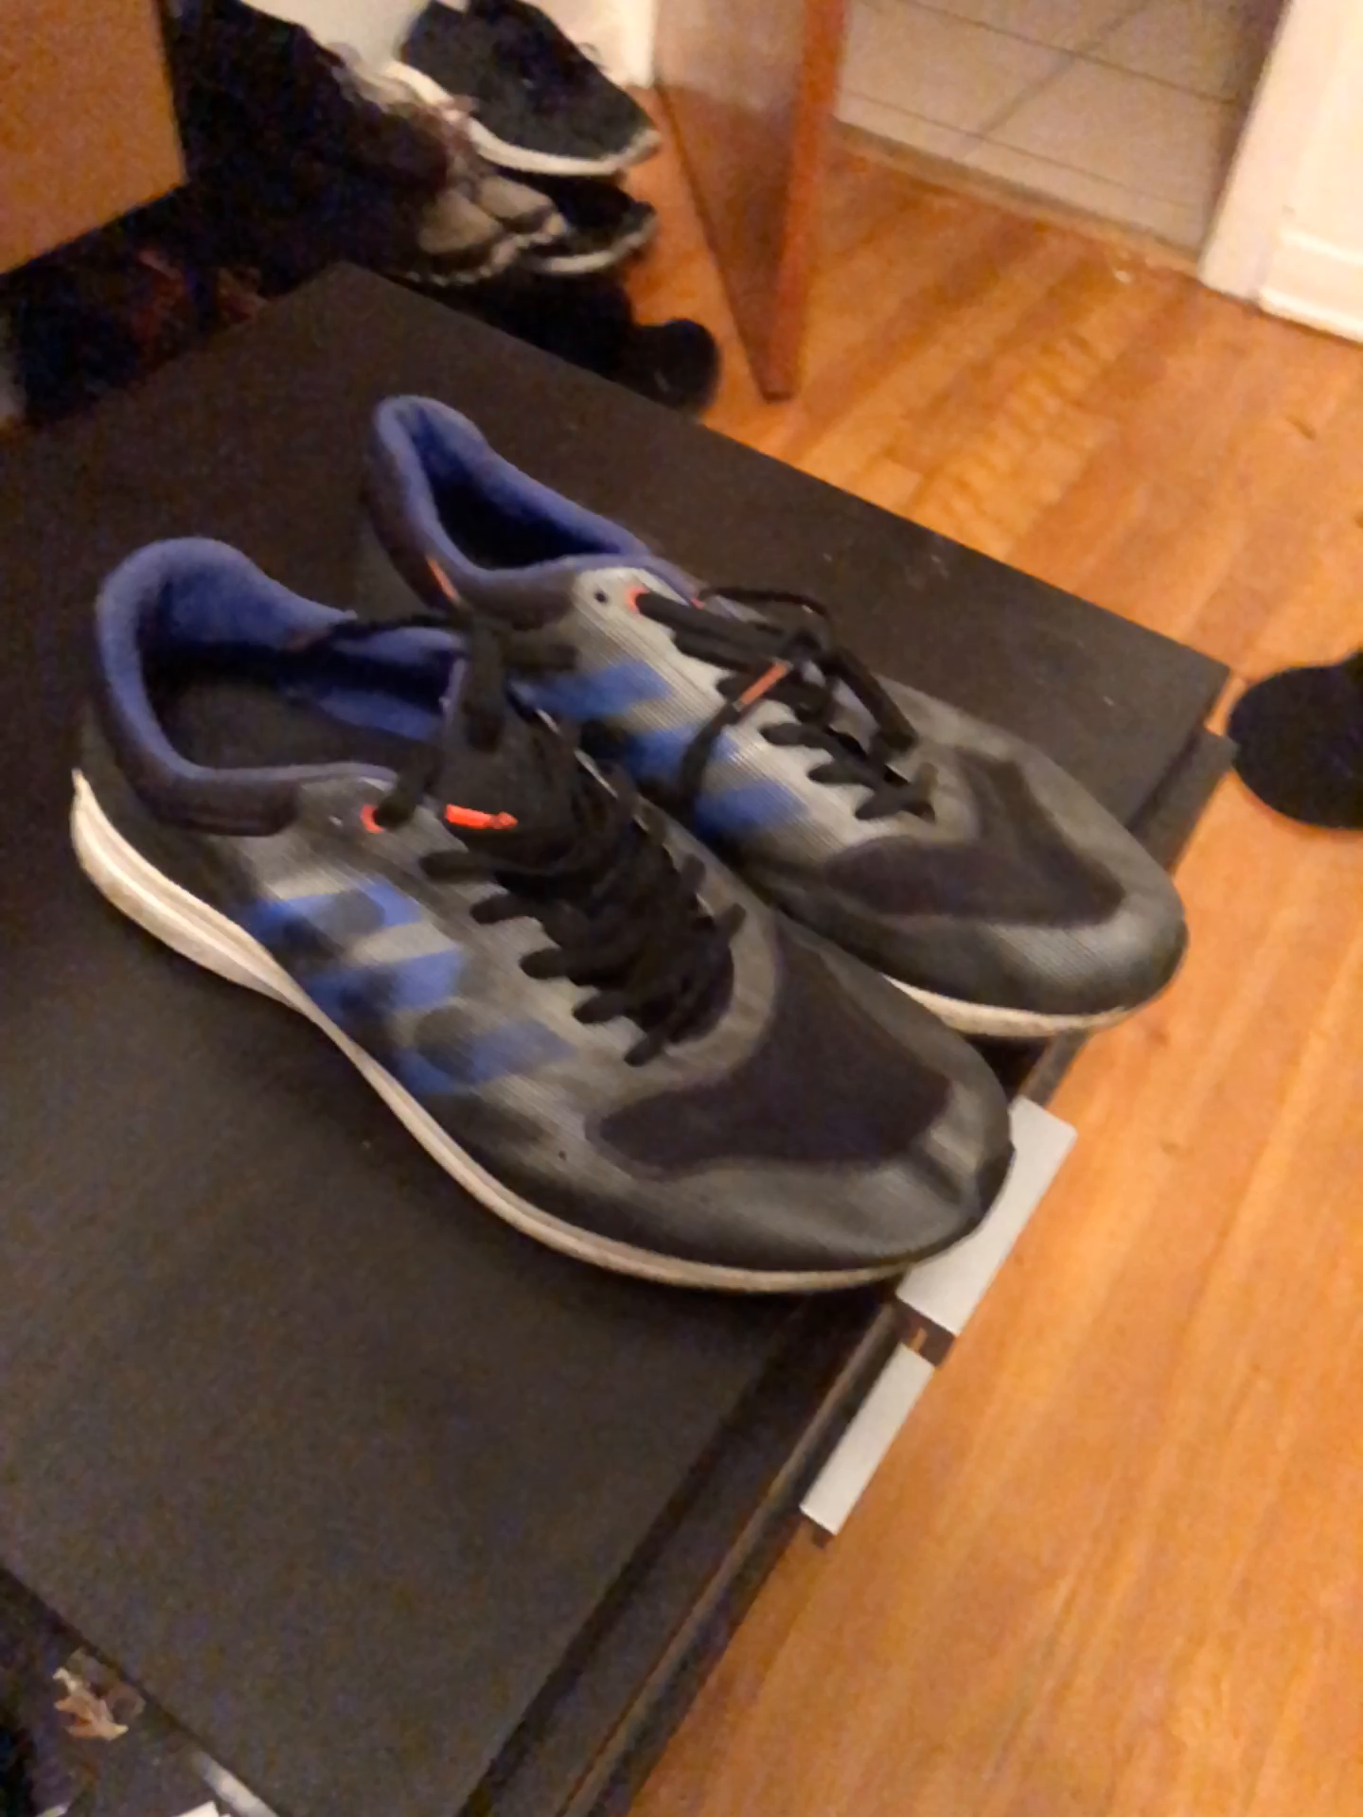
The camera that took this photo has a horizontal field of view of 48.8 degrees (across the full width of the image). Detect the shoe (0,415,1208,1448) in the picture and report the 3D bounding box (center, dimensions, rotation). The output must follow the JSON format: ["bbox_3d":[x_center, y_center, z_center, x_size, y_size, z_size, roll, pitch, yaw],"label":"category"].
[{"bbox_3d":[-0.035,-0.009,0.358,0.271,0.079,0.111,29,54,18],"label":"shoe"}]

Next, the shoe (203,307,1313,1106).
[{"bbox_3d":[0.013,-0.074,0.448,0.301,0.070,0.111,29,54,18],"label":"shoe"}]
